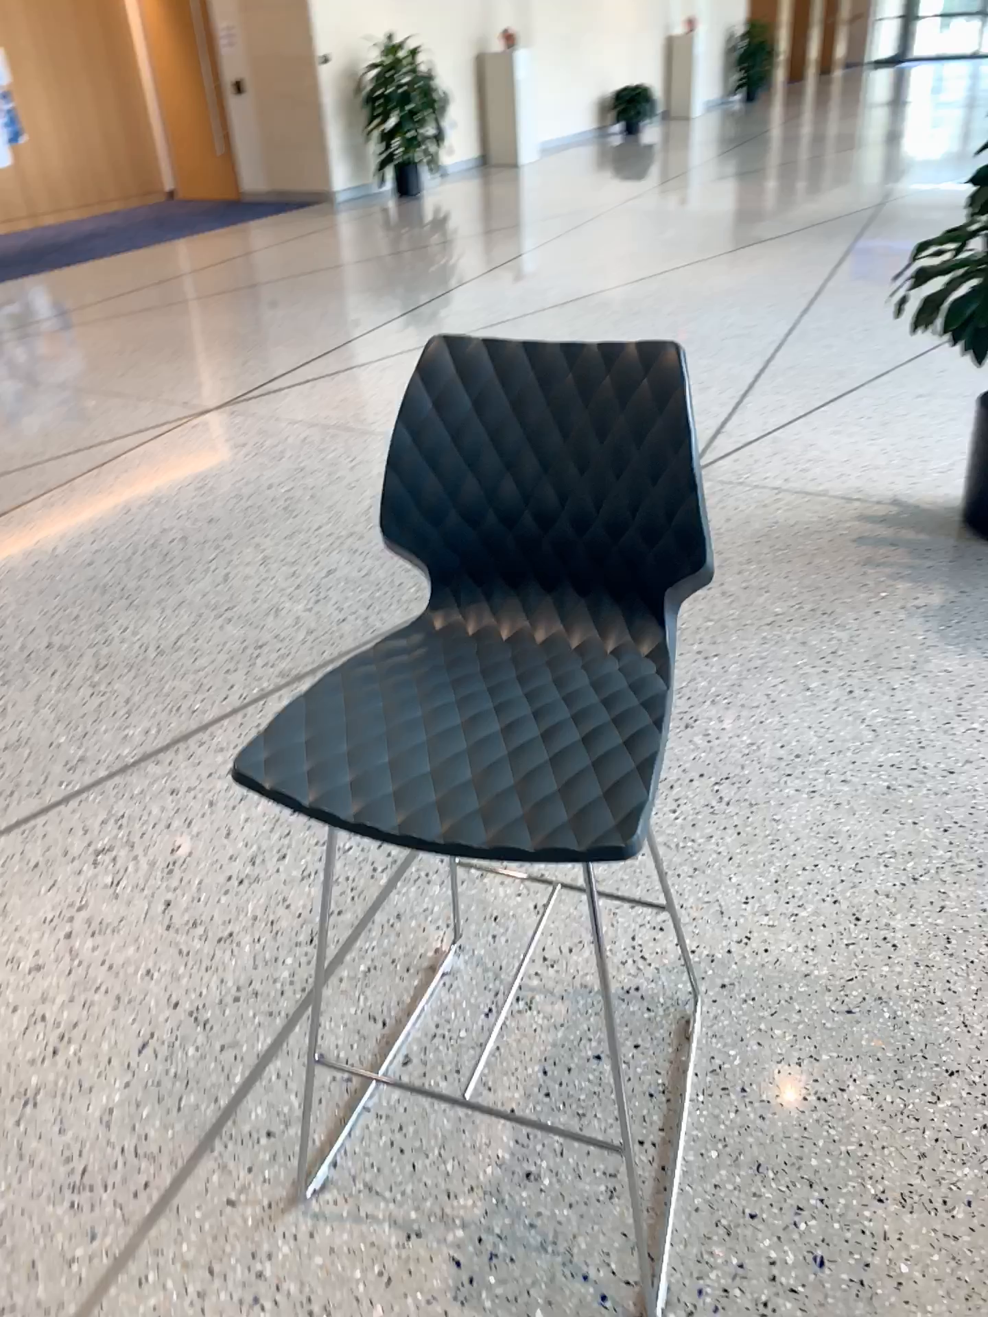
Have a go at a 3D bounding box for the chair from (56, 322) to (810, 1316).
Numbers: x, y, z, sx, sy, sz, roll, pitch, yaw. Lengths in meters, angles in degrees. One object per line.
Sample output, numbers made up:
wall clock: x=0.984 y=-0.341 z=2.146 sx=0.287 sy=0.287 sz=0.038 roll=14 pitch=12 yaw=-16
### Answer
chair: x=0.017 y=0.206 z=1.223 sx=0.532 sy=1.048 sz=0.550 roll=9 pitch=33 yaw=21
